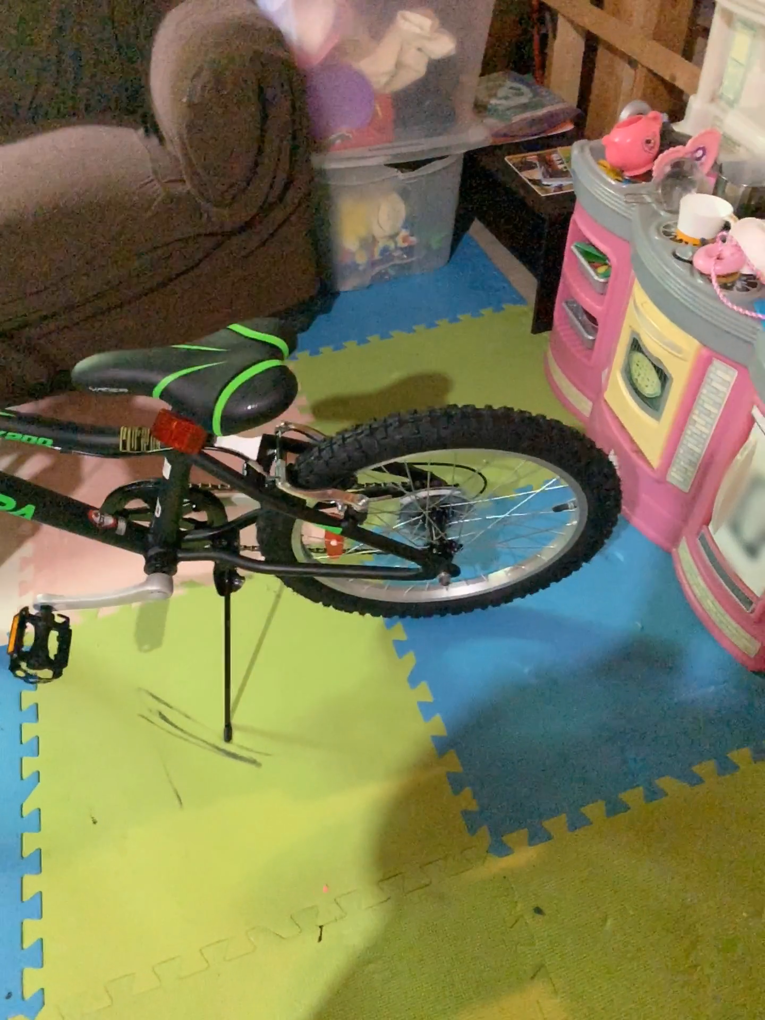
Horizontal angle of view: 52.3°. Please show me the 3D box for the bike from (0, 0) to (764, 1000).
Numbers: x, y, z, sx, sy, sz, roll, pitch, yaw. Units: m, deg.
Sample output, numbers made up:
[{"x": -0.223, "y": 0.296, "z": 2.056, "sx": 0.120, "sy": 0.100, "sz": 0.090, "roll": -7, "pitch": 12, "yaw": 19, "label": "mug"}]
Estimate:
[{"x": -0.334, "y": -0.007, "z": 0.899, "sx": 1.268, "sy": 0.841, "sz": 0.536, "roll": -13, "pitch": 47, "yaw": -4, "label": "bike"}]
